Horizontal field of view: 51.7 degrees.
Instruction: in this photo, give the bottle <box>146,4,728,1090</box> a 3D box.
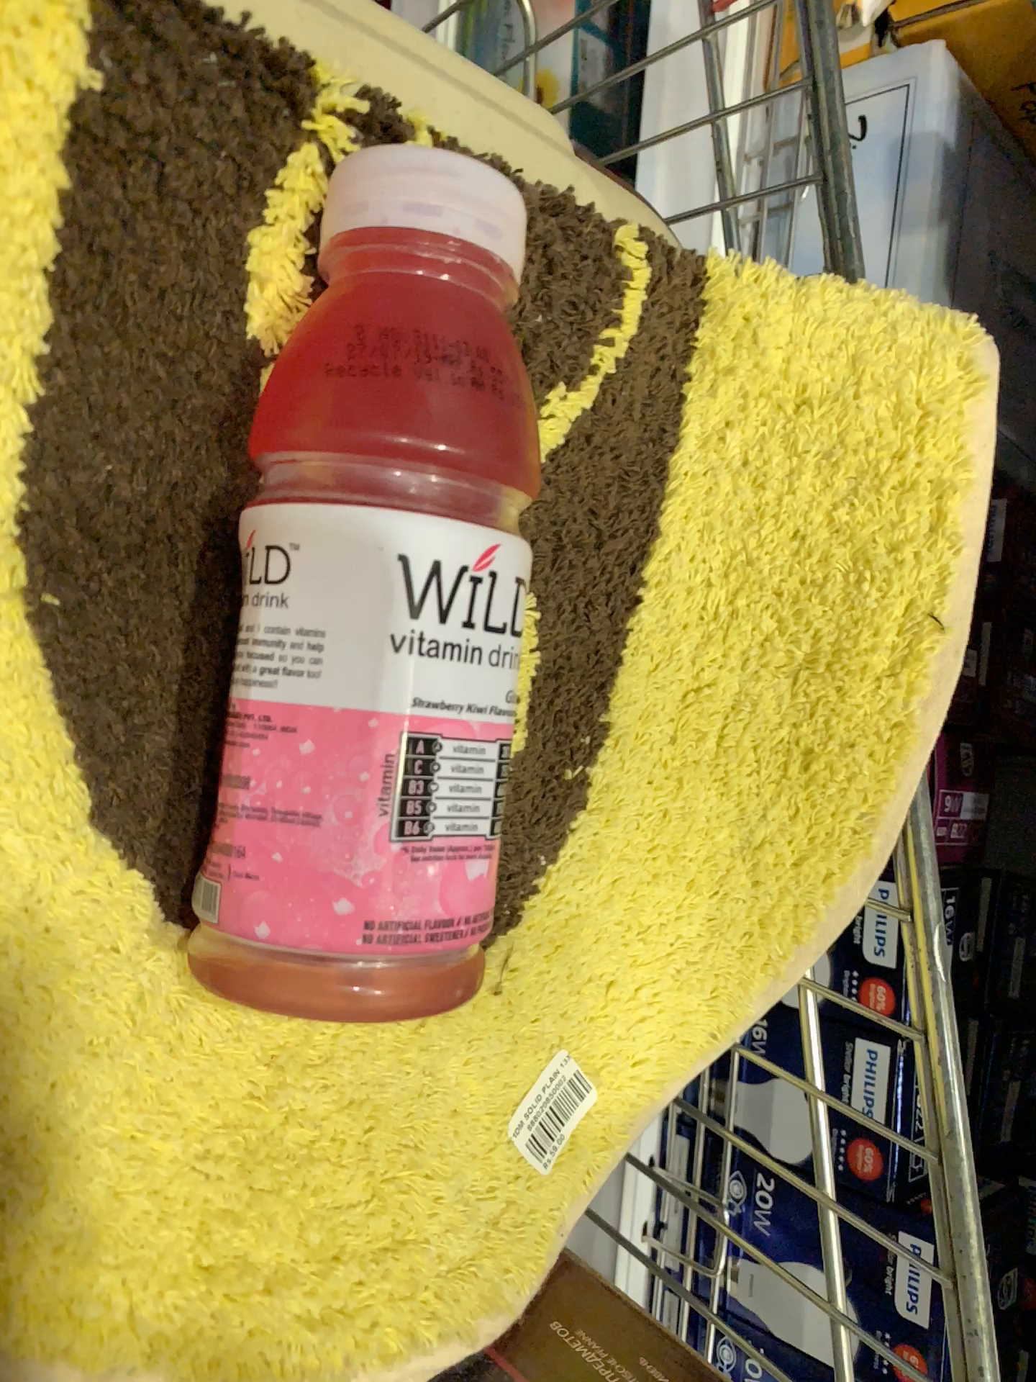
[{"bbox_3d":[-0.016,-0.020,0.195,0.060,0.050,0.160,6,97,-43],"label":"bottle"}]
